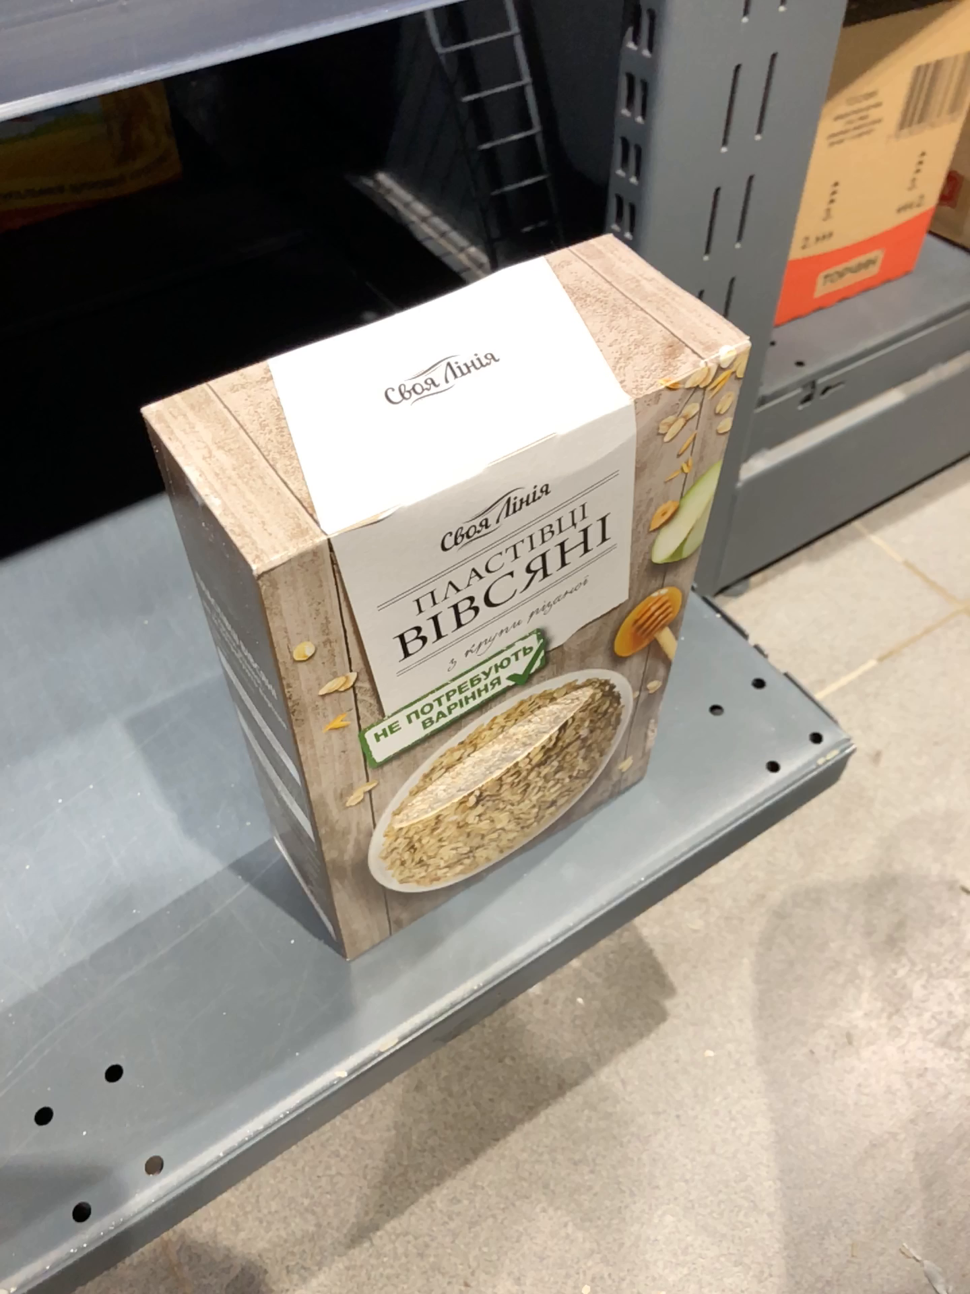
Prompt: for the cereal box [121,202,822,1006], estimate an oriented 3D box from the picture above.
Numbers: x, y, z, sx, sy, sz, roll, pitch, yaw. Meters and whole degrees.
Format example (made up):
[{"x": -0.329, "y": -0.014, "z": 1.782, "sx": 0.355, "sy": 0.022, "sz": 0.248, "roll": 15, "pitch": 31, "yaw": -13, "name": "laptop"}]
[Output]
[{"x": -0.003, "y": 0.003, "z": 0.342, "sx": 0.150, "sy": 0.228, "sz": 0.070, "roll": -27, "pitch": 58, "yaw": -21, "name": "cereal box"}]
